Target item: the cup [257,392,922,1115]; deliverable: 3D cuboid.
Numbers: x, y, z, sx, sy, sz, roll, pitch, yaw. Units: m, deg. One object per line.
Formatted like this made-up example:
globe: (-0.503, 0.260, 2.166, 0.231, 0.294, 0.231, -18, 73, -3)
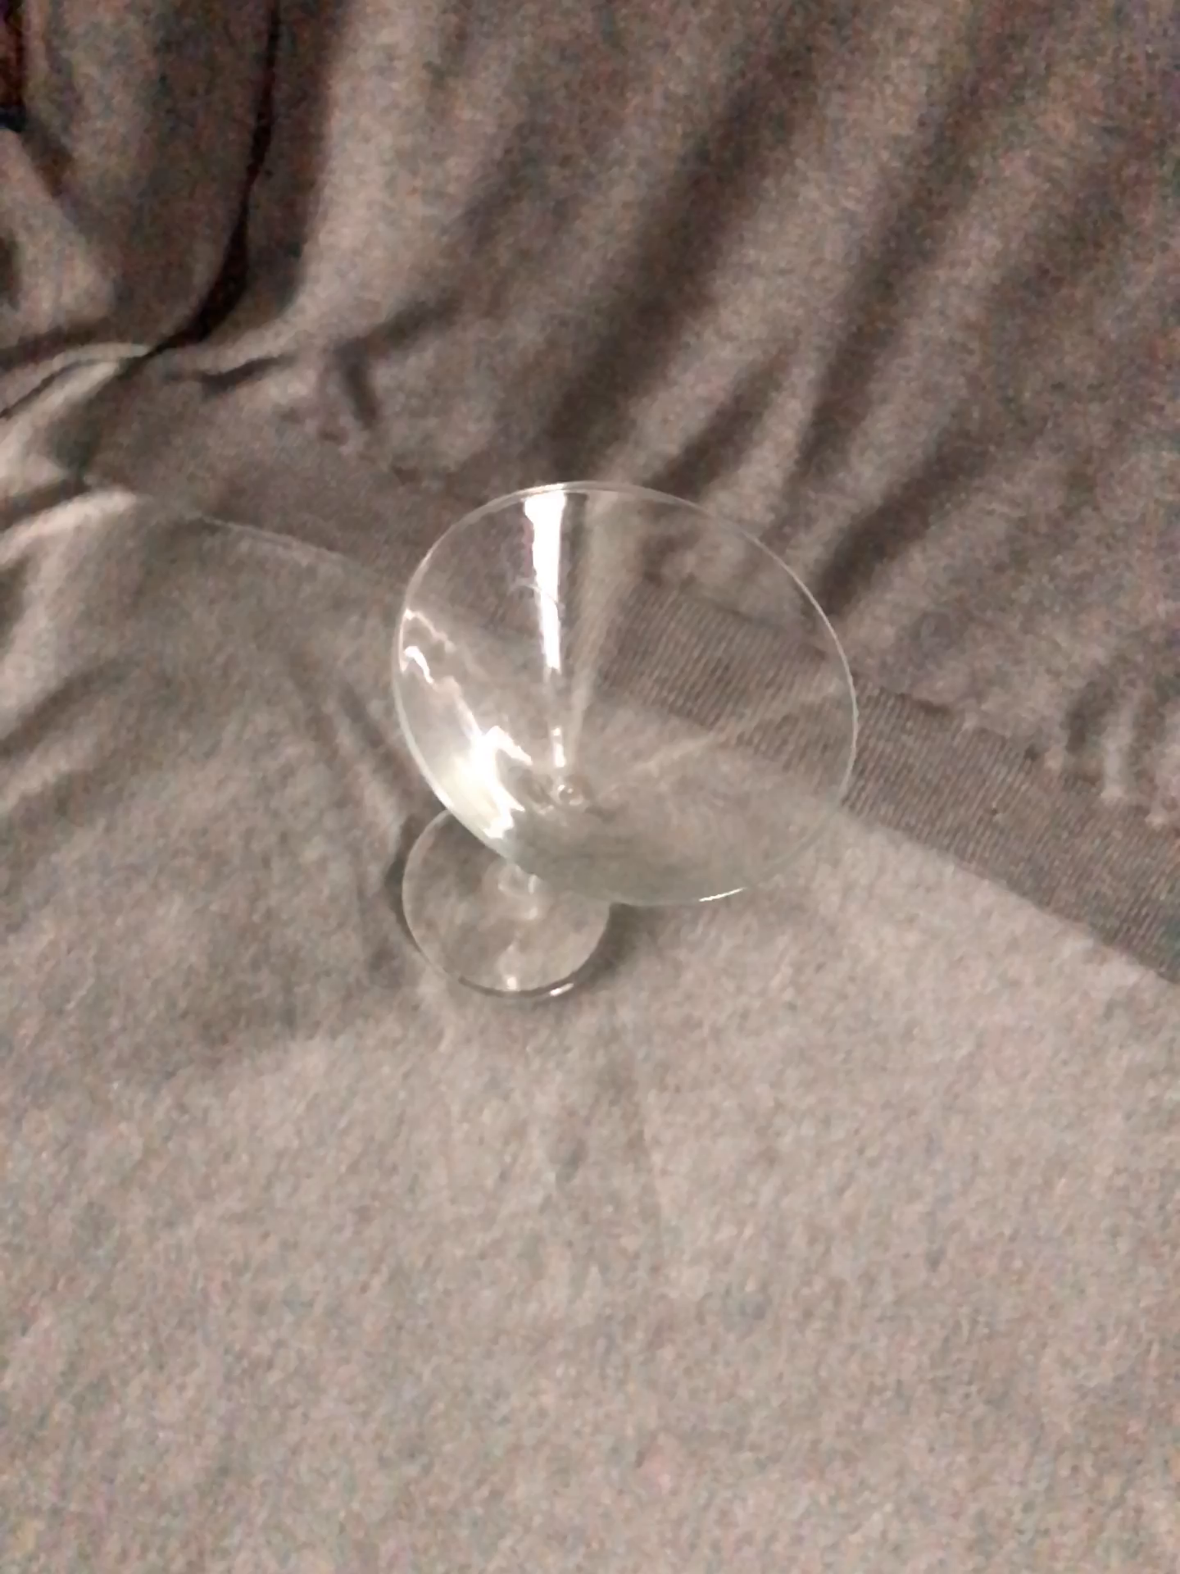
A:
cup: (-0.011, 0.004, 0.372, 0.113, 0.157, 0.112, 6, 67, -14)
